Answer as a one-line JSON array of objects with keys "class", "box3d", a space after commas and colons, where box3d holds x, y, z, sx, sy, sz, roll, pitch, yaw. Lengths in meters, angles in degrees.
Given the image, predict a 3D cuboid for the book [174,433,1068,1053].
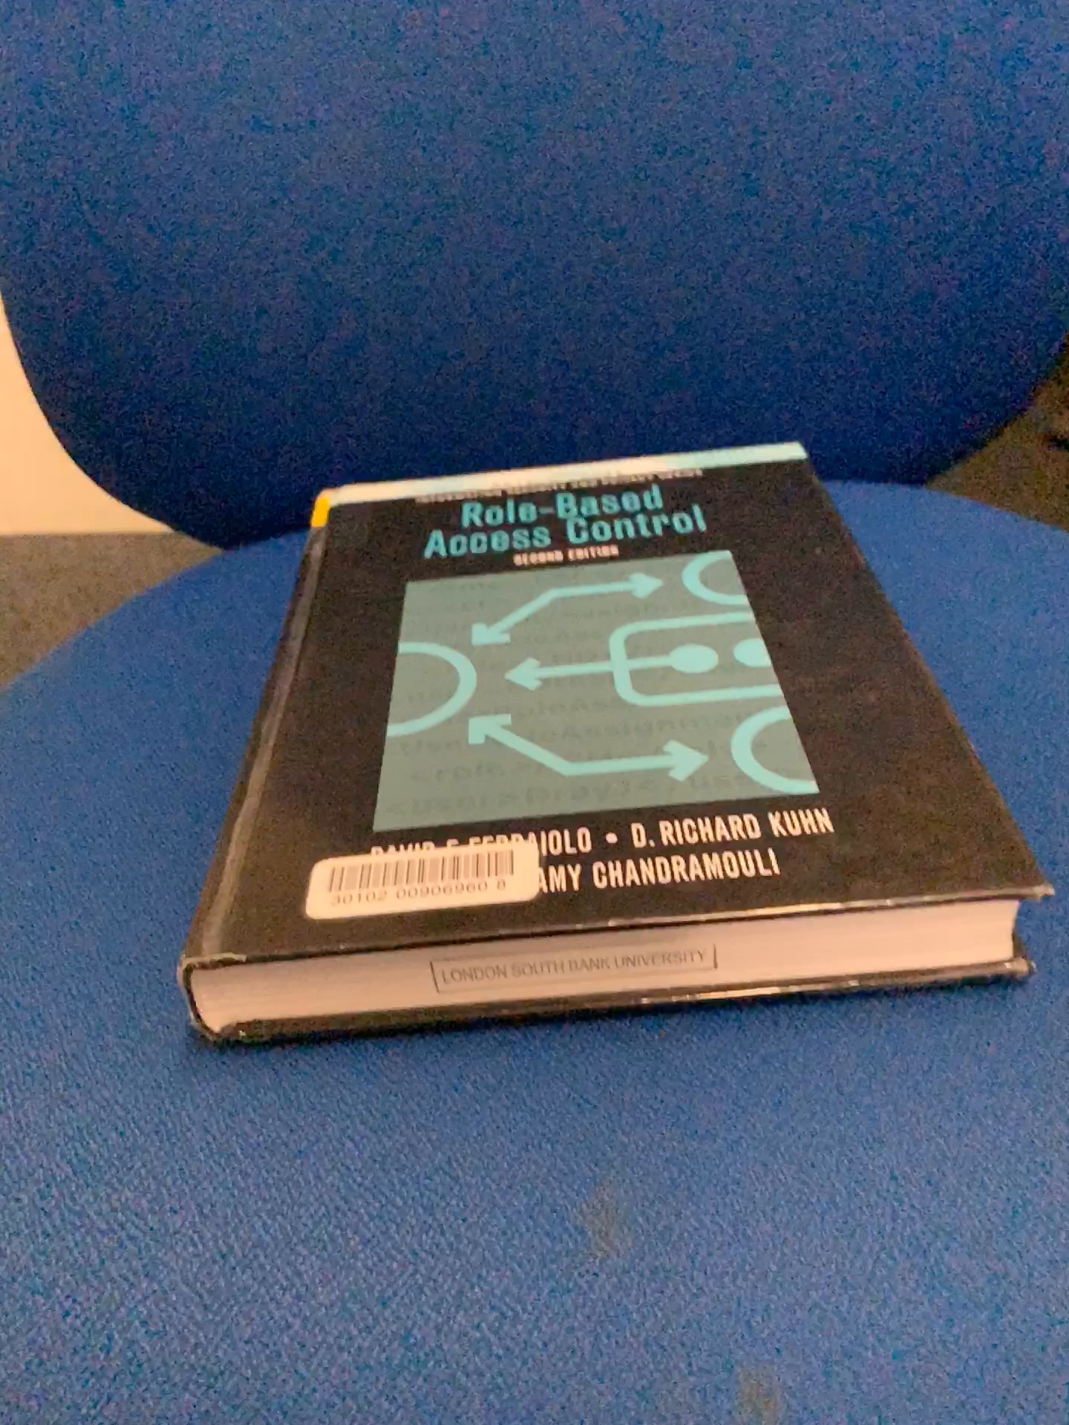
[{"class": "book", "box3d": [0.018, -0.015, 0.333, 0.189, 0.030, 0.242, -5, 35, 2]}]
